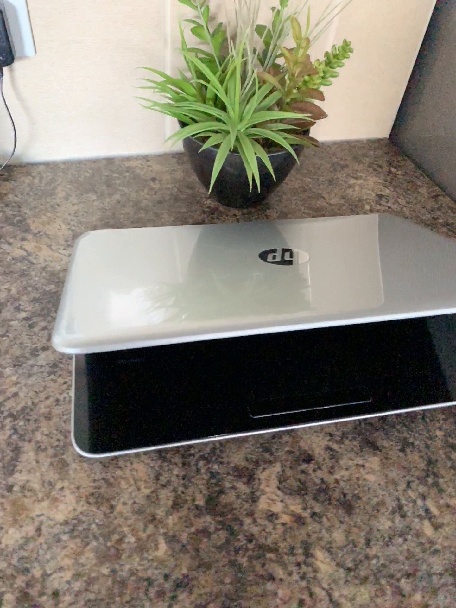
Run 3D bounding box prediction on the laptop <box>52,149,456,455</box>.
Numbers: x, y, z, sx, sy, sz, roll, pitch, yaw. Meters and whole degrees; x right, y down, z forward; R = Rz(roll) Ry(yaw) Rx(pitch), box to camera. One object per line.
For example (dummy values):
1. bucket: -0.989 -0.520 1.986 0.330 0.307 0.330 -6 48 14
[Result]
1. laptop: 0.044 -0.025 0.373 0.328 0.081 0.208 -6 49 -12
